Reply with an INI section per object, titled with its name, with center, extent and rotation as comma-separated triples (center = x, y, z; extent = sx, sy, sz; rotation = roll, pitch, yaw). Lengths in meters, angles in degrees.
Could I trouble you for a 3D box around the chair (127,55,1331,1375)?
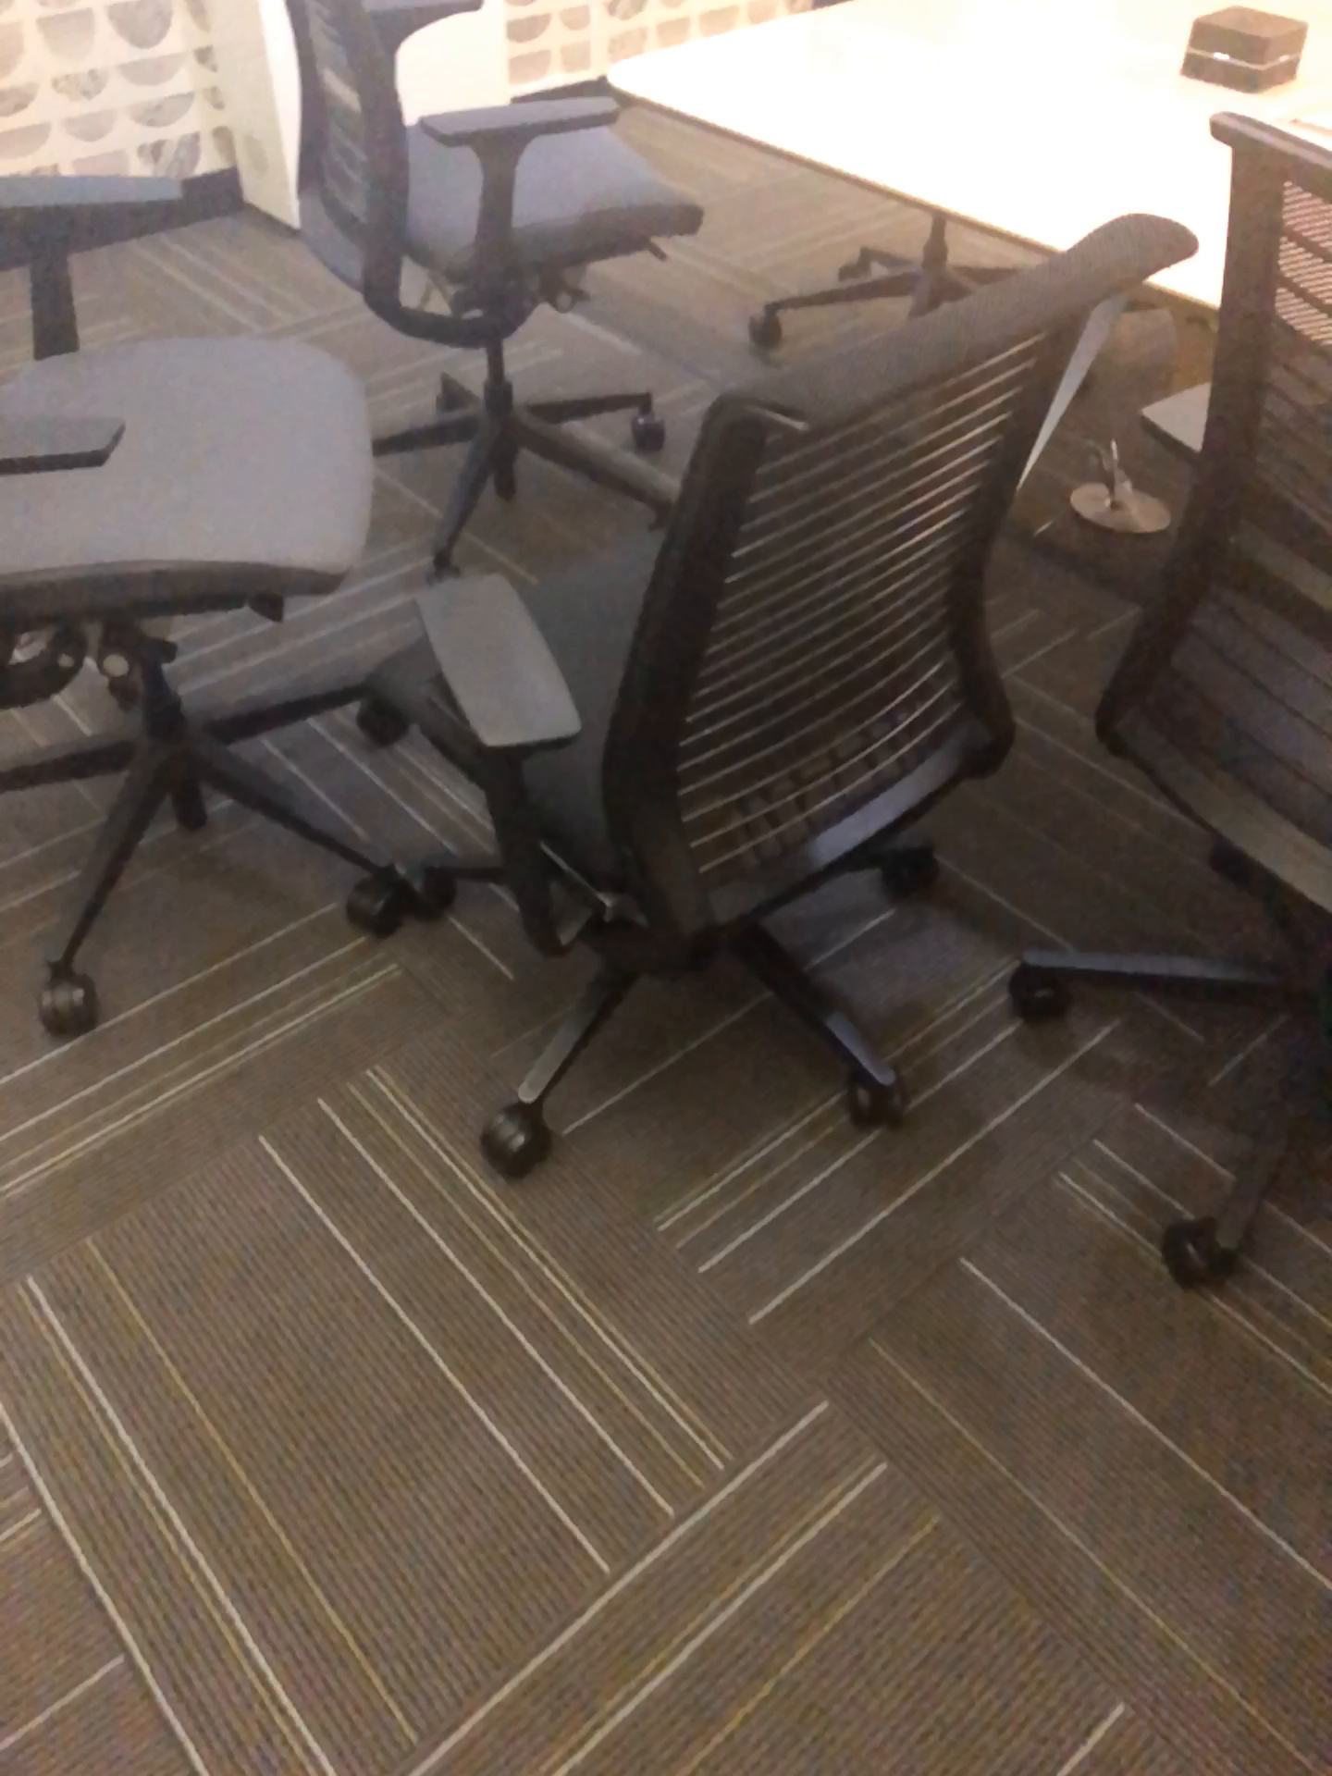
[chair]
center = 0.046, -0.213, 1.568
extent = 0.724, 0.991, 0.732
rotation = -30, 49, -30
